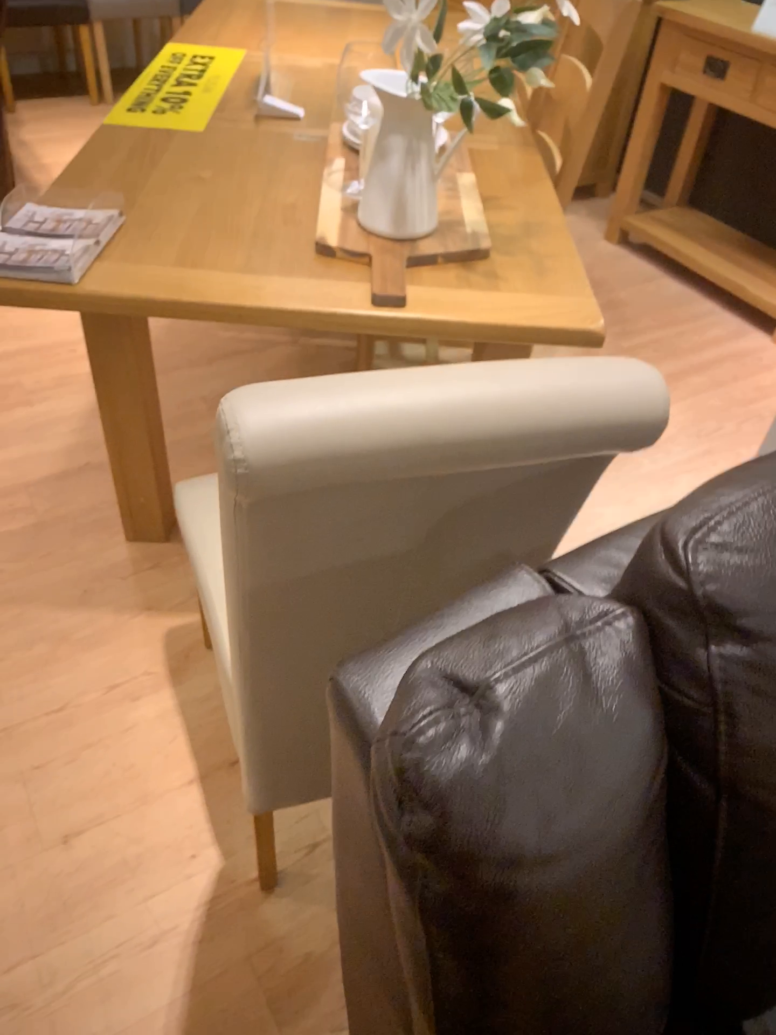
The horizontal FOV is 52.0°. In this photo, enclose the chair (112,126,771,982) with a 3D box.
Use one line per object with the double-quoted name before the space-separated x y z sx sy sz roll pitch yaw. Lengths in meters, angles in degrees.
"chair" -0.054 0.071 1.093 0.476 0.943 0.640 -7 44 -14
